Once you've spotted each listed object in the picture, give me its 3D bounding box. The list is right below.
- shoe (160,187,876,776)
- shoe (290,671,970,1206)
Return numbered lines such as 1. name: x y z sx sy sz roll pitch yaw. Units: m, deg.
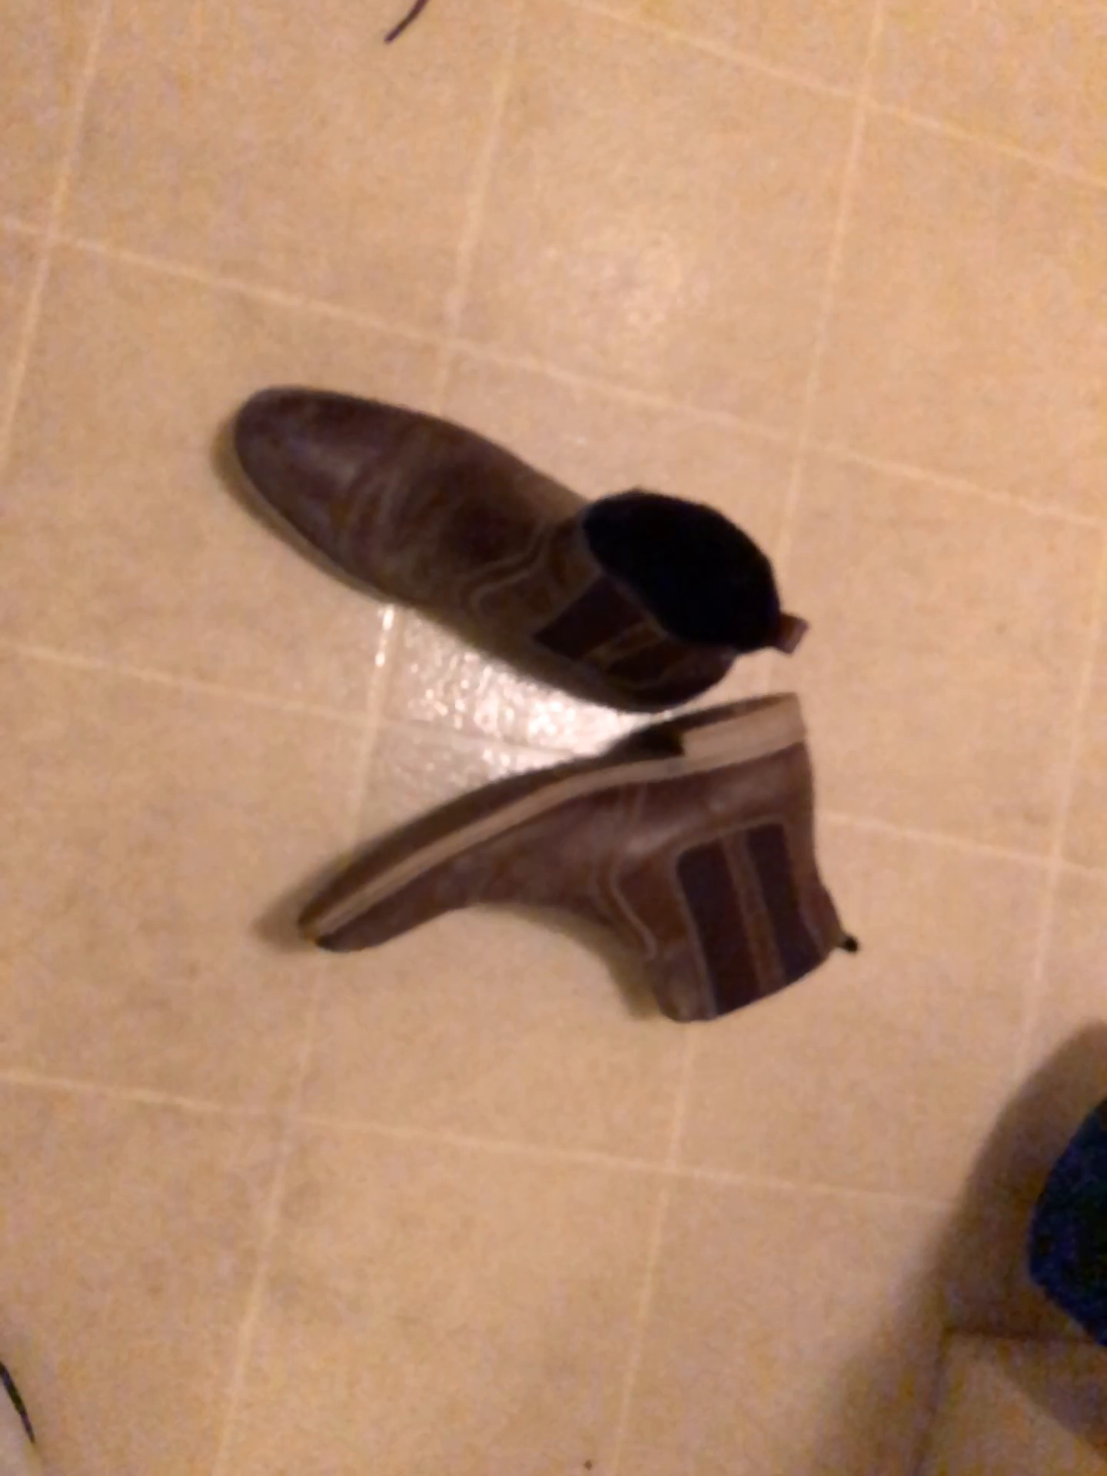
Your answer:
1. shoe: -0.023 -0.108 0.636 0.313 0.161 0.111 31 82 -10
2. shoe: 0.037 0.094 0.671 0.313 0.111 0.161 -20 94 -12
